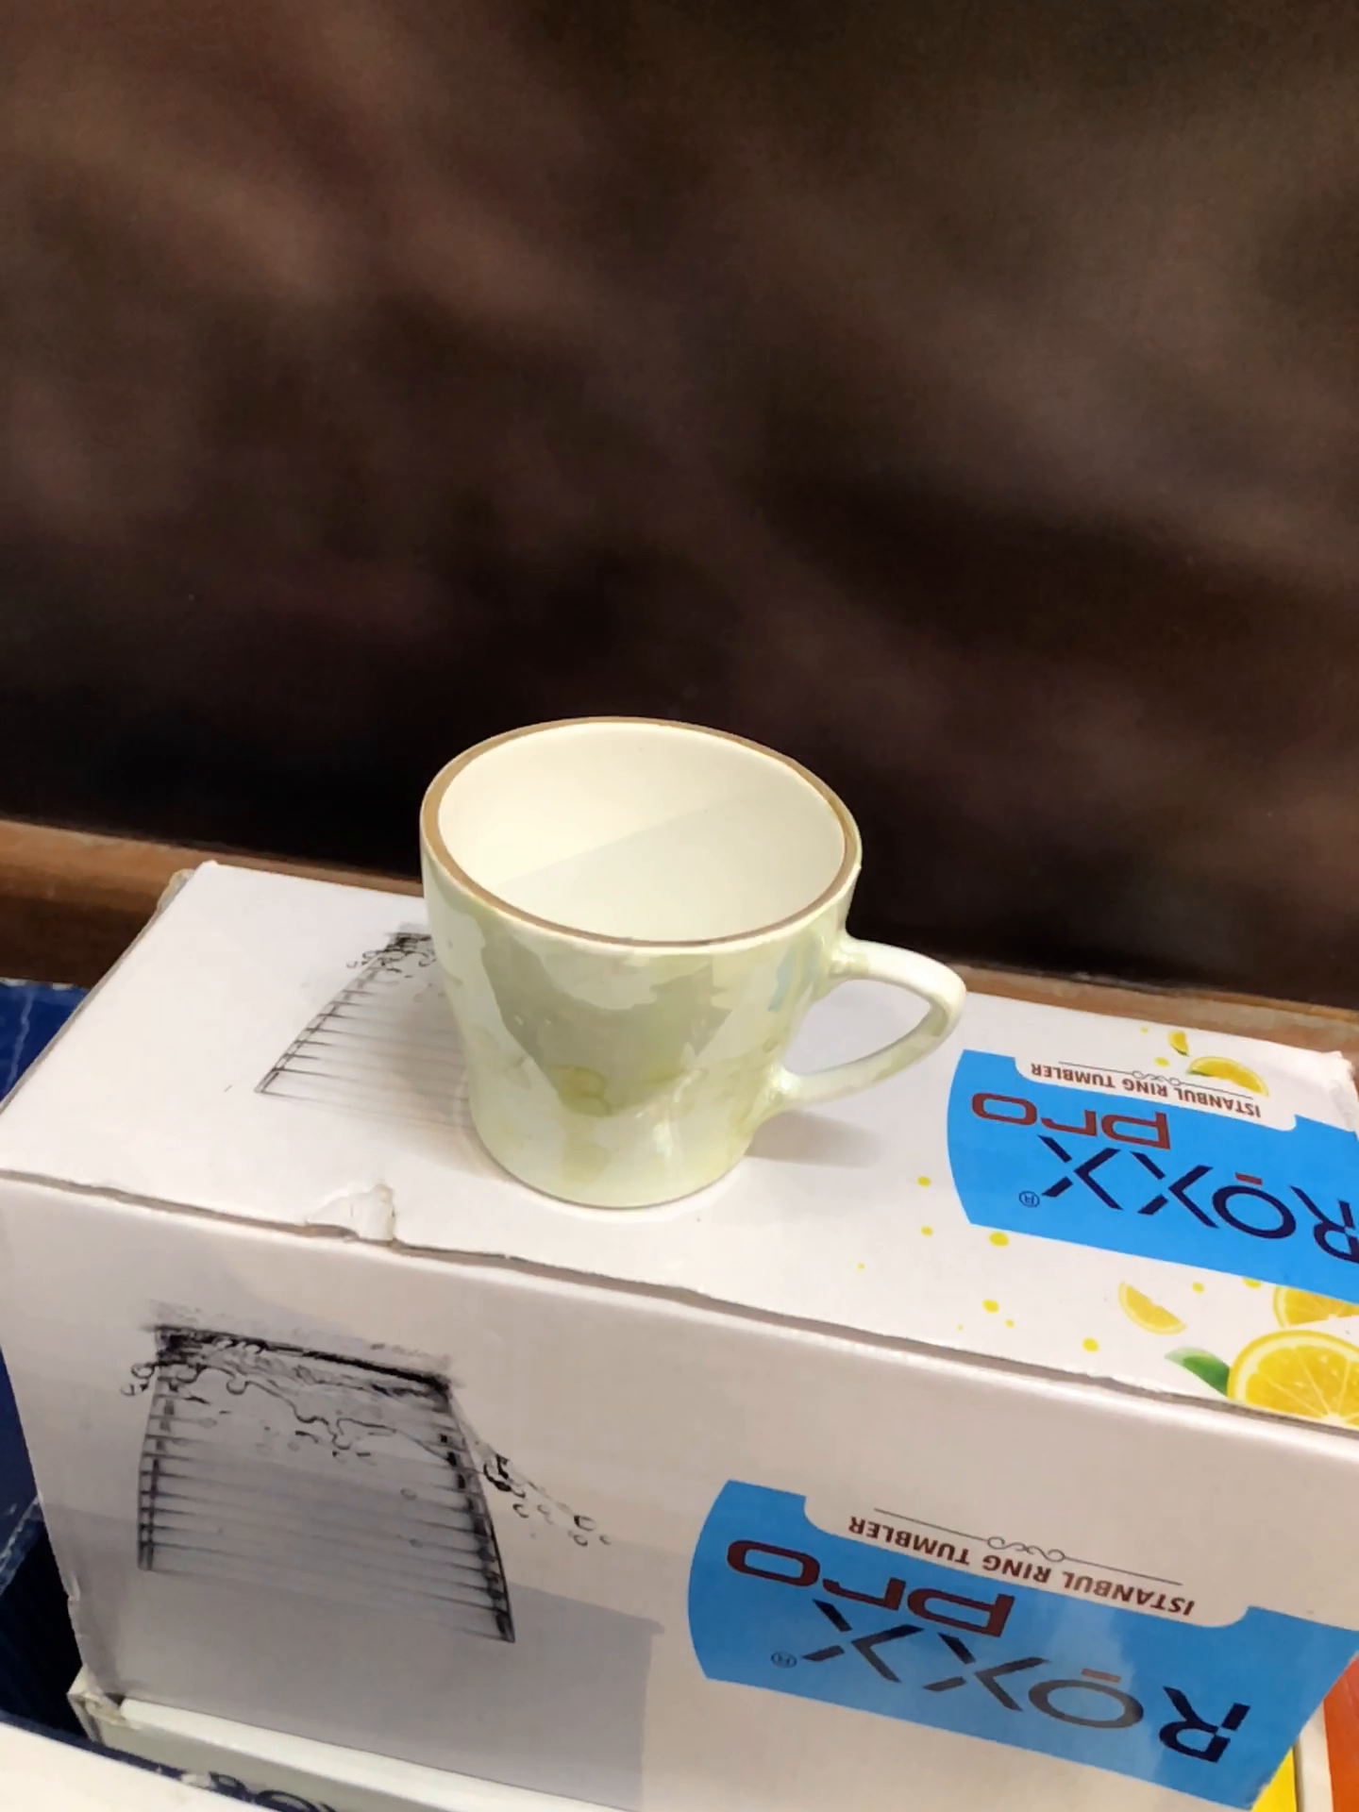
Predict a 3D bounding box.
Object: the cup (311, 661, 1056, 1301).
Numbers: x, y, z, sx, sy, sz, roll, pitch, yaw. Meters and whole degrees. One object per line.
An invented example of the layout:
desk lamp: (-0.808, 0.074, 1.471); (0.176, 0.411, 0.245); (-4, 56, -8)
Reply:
cup: (0.002, 0.009, 0.247); (0.100, 0.060, 0.070); (8, 36, 3)
